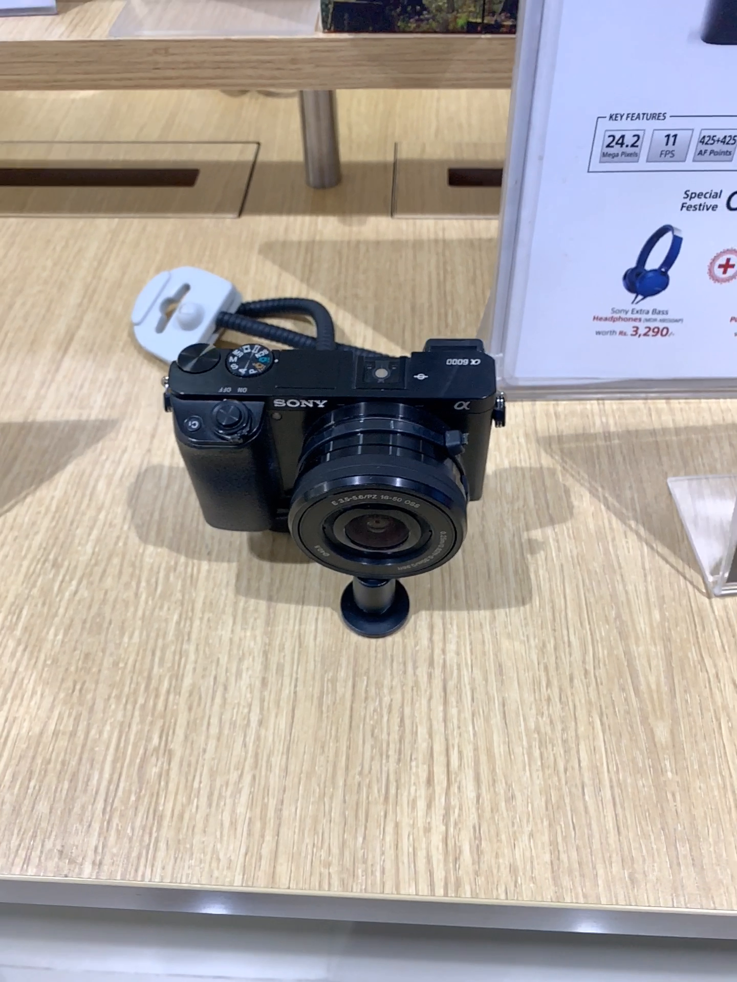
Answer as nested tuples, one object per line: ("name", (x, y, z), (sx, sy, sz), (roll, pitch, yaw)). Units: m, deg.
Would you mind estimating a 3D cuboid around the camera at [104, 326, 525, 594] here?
("camera", (-0.015, -0.011, 0.284), (0.130, 0.070, 0.070), (0, 52, 3))
